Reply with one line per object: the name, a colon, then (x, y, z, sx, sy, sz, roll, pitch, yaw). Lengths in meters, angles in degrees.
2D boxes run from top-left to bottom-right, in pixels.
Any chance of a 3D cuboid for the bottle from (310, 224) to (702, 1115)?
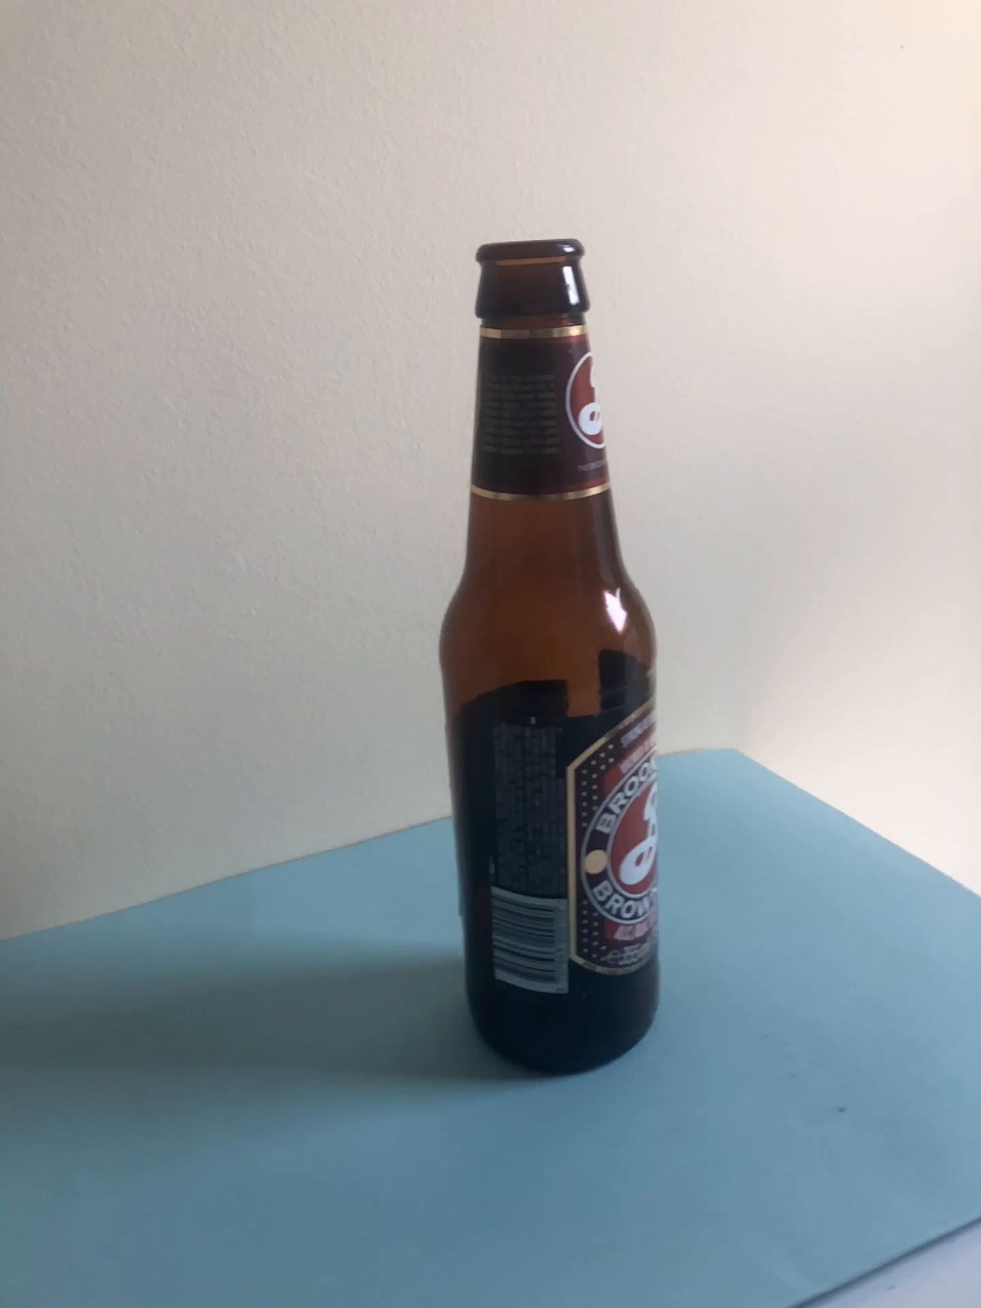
bottle: (0.011, 0.005, 0.305, 0.070, 0.229, 0.070, -3, 21, 1)
